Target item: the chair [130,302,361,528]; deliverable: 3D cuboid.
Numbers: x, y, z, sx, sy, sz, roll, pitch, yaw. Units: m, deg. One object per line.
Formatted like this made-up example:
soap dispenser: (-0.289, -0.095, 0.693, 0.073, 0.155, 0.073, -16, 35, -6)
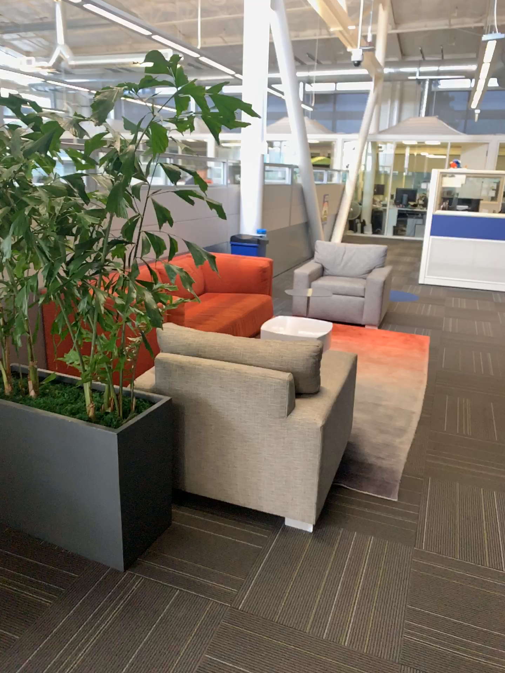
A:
chair: (0.011, 0.313, 2.700, 0.921, 0.727, 0.873, 7, 18, 17)
